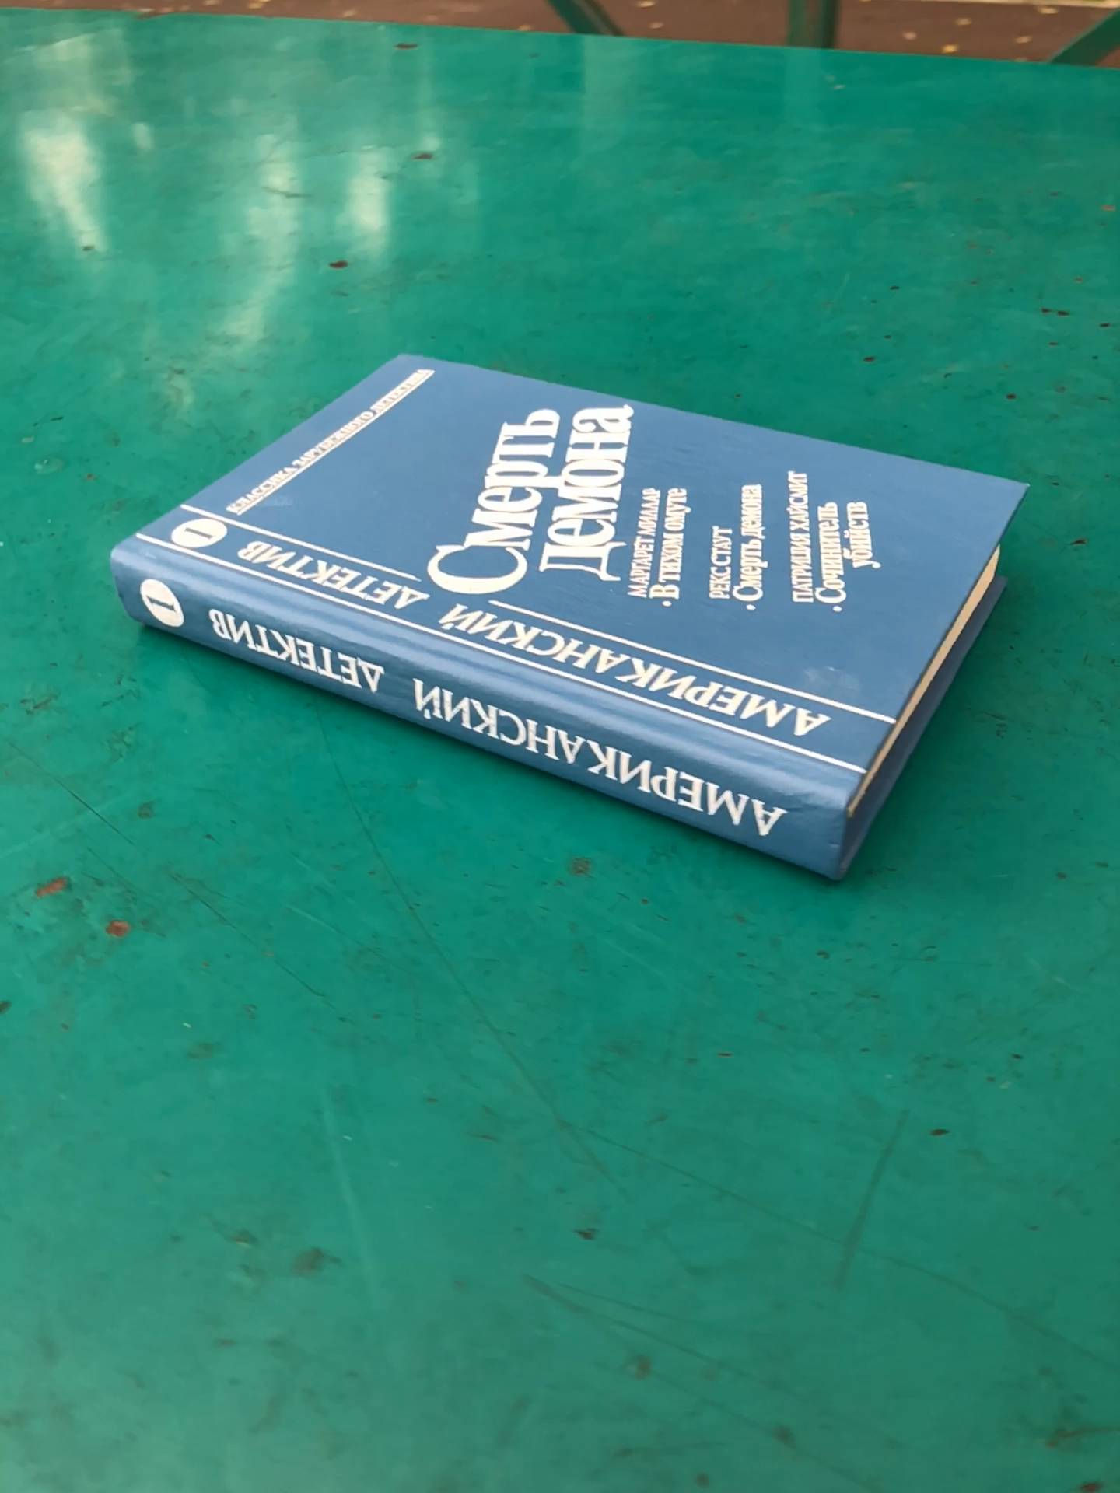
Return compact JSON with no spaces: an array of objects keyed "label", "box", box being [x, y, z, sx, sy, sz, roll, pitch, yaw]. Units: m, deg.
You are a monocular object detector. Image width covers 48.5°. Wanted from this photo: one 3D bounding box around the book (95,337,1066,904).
[{"label":"book","box":[0.007,-0.052,0.336,0.212,0.034,0.142,18,45,25]}]
